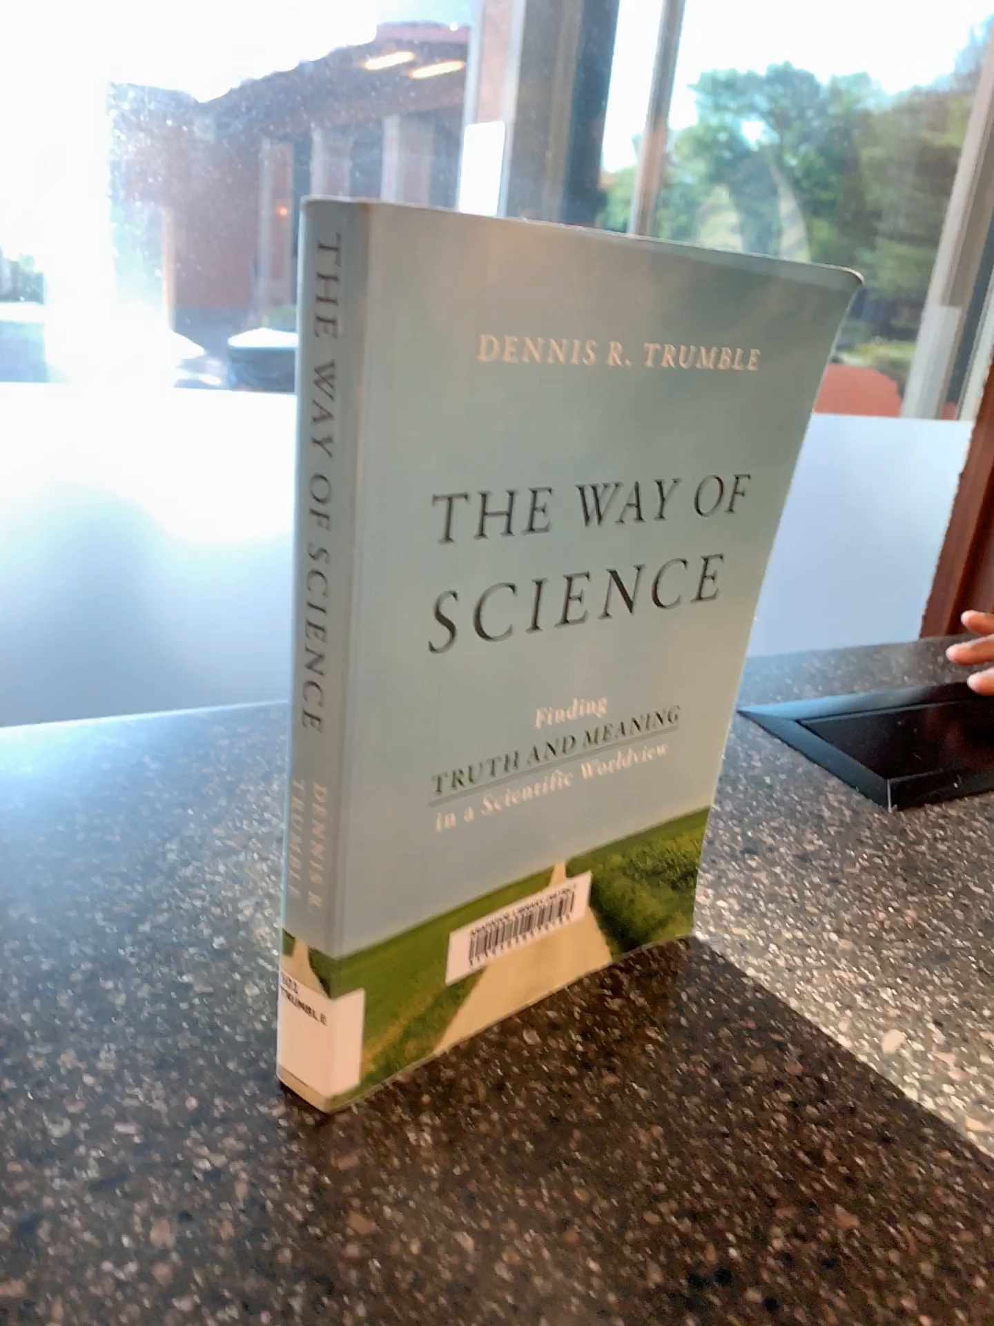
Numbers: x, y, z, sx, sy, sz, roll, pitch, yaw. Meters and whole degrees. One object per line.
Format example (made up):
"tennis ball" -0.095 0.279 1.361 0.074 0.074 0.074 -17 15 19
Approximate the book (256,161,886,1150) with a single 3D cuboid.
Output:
"book" 0.021 -0.004 0.280 0.167 0.219 0.040 -13 27 -40
